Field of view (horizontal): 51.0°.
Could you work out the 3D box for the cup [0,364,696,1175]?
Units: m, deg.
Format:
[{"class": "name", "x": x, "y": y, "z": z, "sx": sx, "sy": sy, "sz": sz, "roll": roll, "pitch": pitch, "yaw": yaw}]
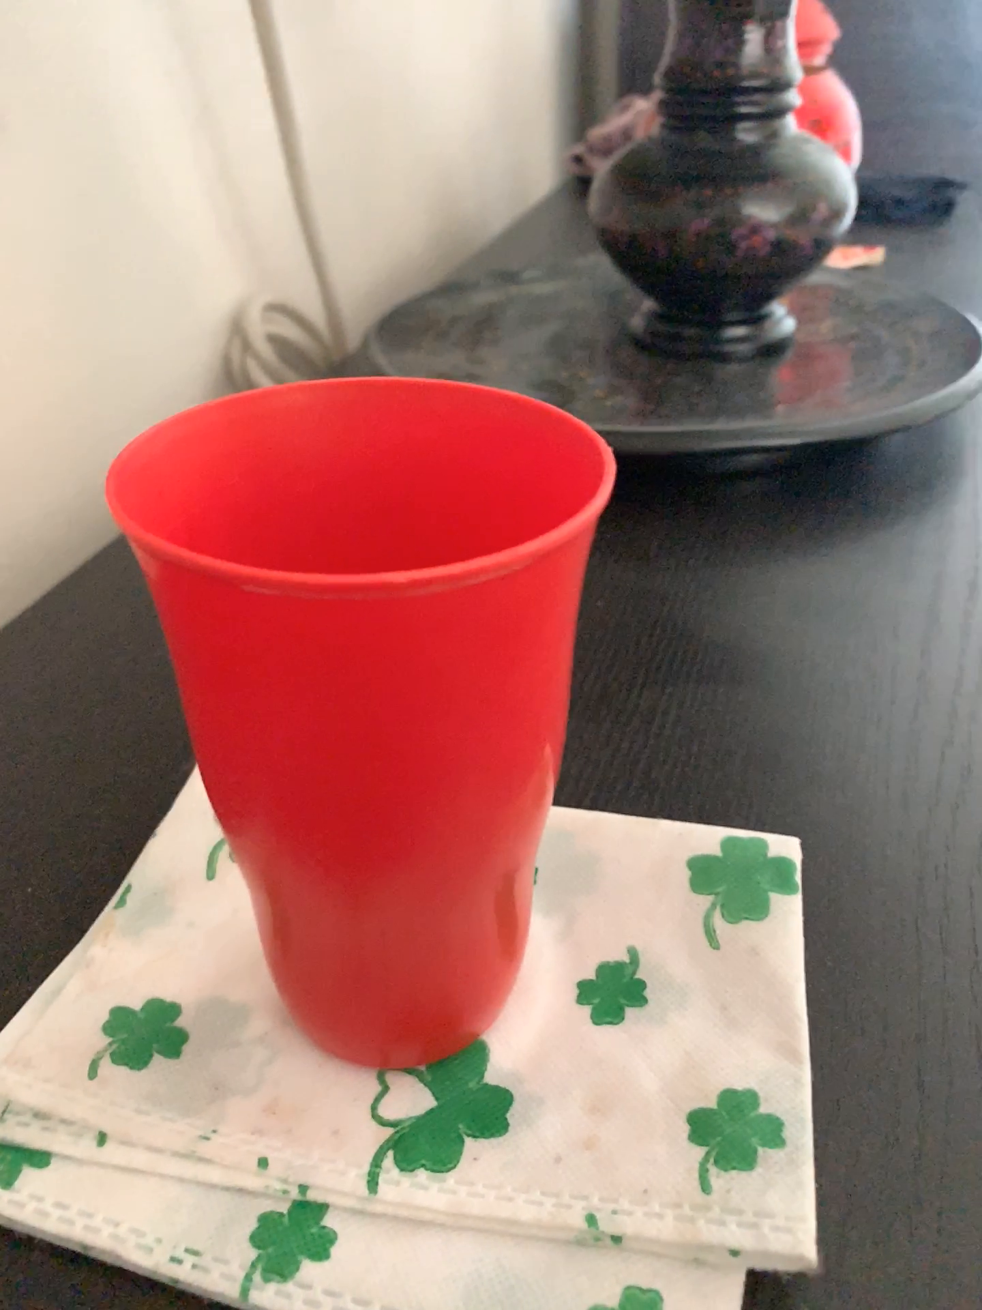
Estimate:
[{"class": "cup", "x": -0.021, "y": 0.010, "z": 0.178, "sx": 0.082, "sy": 0.091, "sz": 0.080, "roll": -1, "pitch": 31, "yaw": 1}]
